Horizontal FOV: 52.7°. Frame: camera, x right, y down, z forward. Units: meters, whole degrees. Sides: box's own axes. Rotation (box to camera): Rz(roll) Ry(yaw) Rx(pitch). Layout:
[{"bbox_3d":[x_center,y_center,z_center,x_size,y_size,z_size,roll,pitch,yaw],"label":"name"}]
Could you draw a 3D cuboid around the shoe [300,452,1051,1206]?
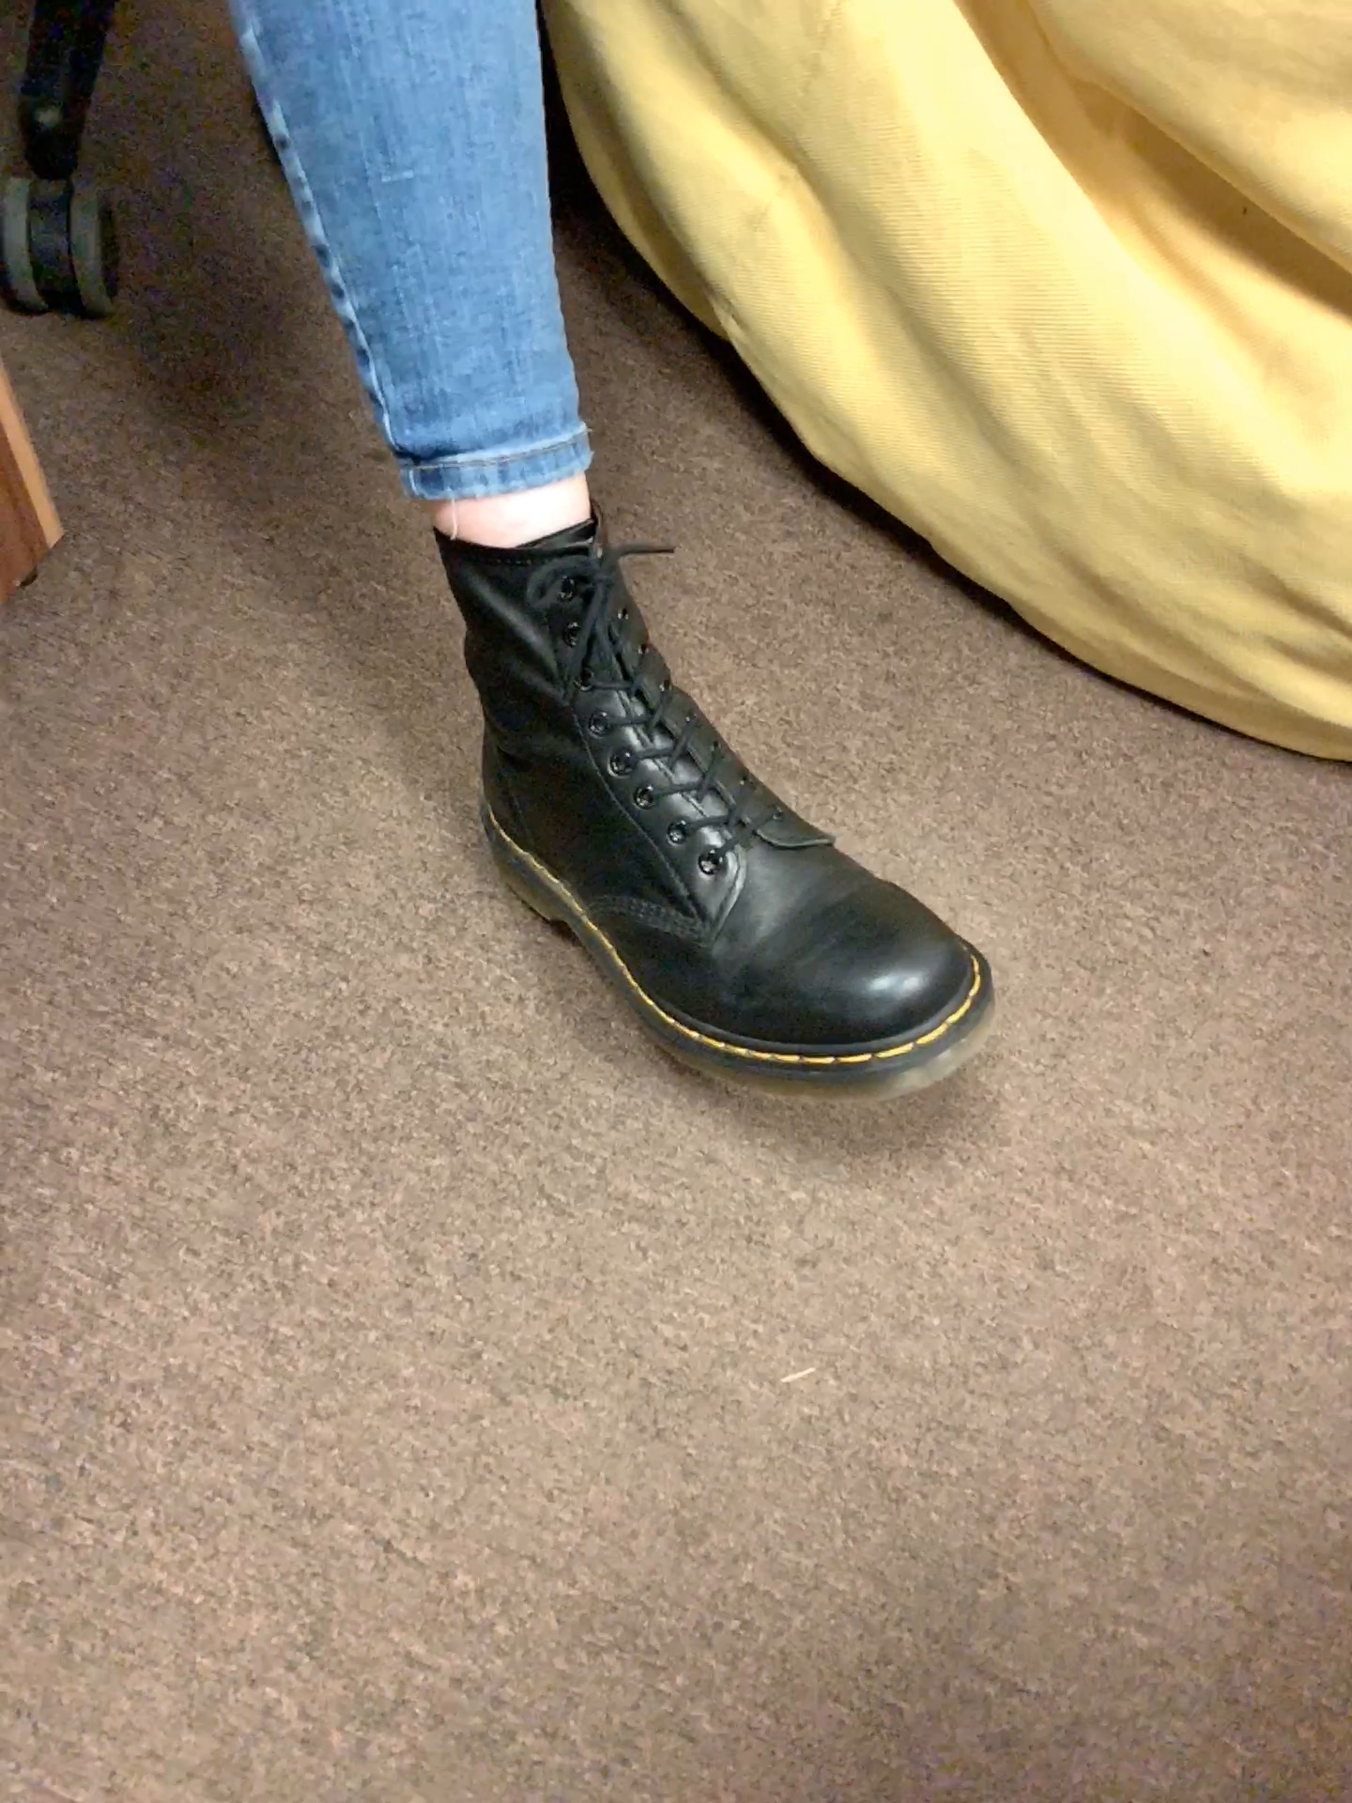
[{"bbox_3d":[-0.009,-0.047,0.540,0.120,0.150,0.290,-32,46,-22],"label":"shoe"}]
